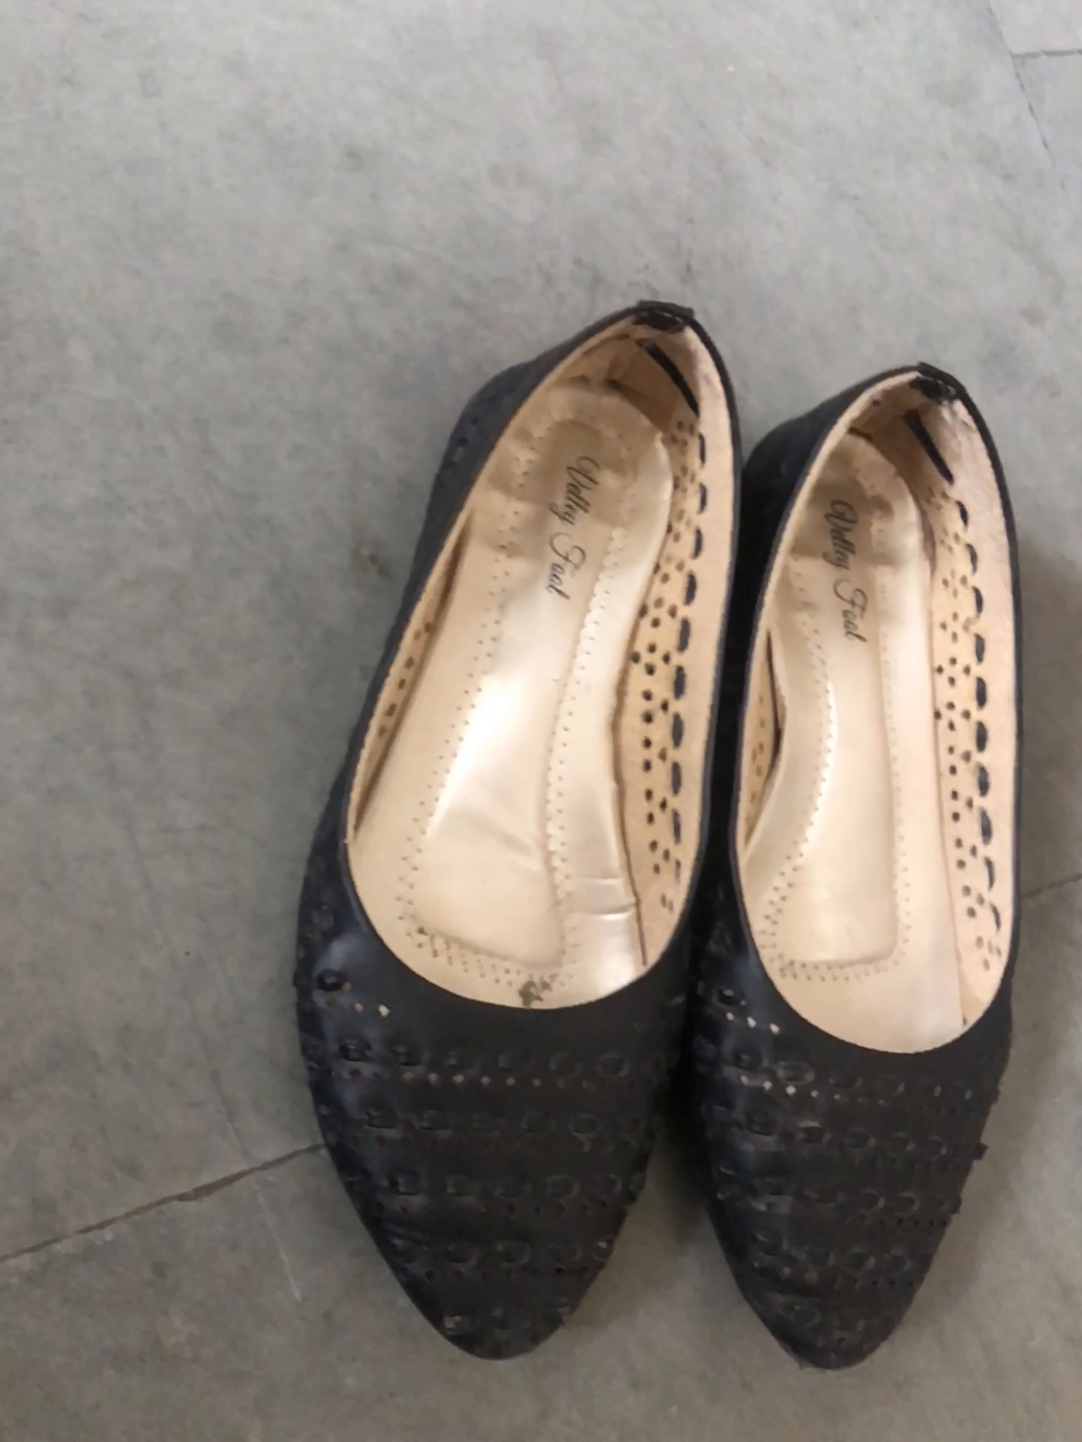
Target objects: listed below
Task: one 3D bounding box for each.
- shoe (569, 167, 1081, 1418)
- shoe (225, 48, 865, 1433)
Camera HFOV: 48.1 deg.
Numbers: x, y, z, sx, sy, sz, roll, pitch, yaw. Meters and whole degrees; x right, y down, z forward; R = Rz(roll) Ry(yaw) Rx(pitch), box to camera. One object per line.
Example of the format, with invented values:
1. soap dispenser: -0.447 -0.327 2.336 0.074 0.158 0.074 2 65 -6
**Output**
1. shoe: 0.078 0.012 0.312 0.100 0.070 0.280 10 75 -14
2. shoe: 0.001 0.003 0.279 0.100 0.070 0.270 10 80 -14
